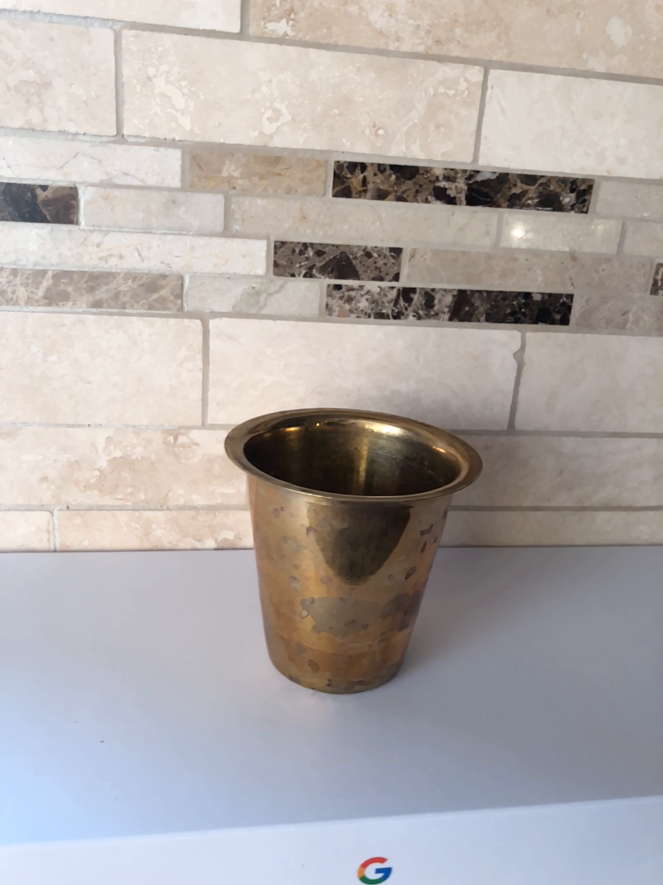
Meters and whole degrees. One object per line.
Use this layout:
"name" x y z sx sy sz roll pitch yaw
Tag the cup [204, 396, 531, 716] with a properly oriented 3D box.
"cup" 0.004 0.030 0.242 0.083 0.071 0.075 0 20 -13
